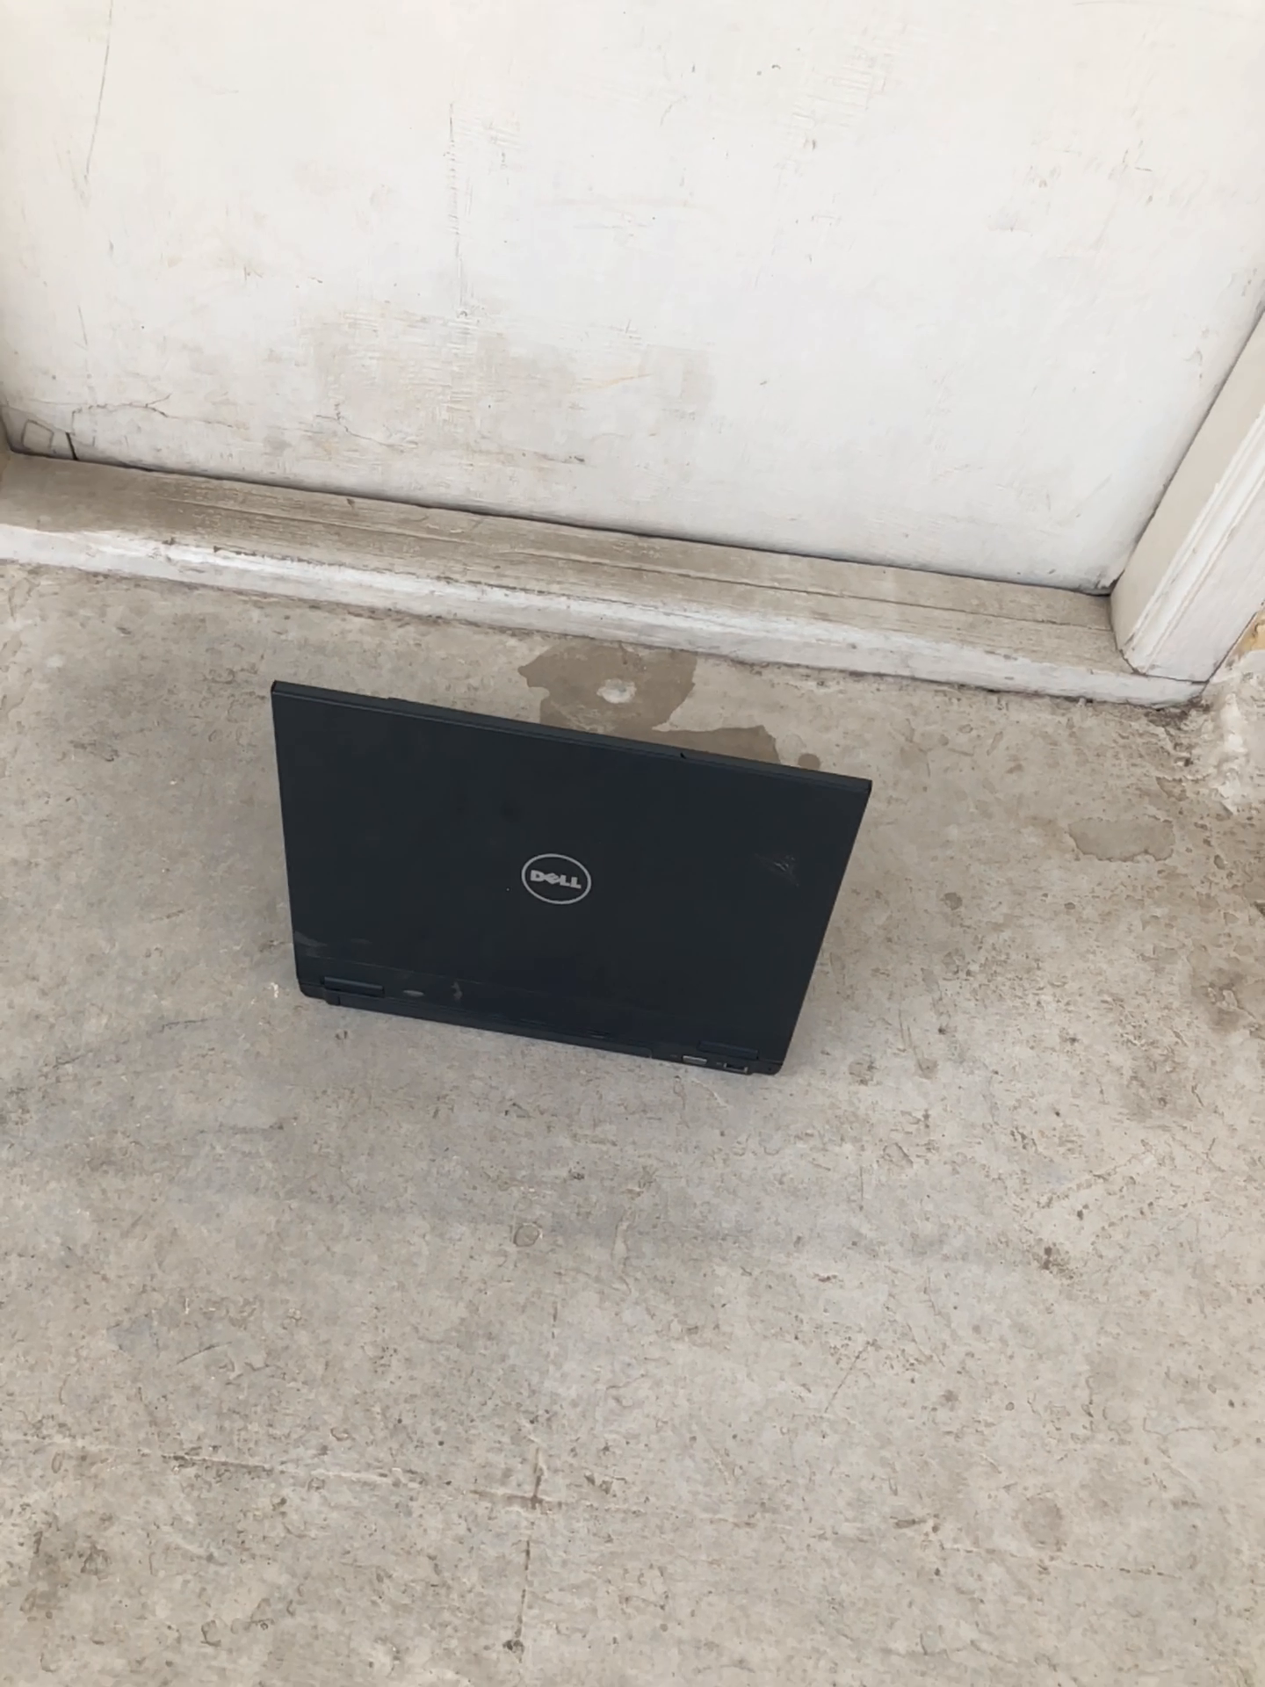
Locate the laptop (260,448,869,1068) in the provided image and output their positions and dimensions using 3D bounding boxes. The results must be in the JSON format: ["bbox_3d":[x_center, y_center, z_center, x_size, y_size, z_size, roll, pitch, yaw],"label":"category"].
[{"bbox_3d":[-0.035,-0.042,0.836,0.279,0.252,0.225,10,58,1],"label":"laptop"}]
